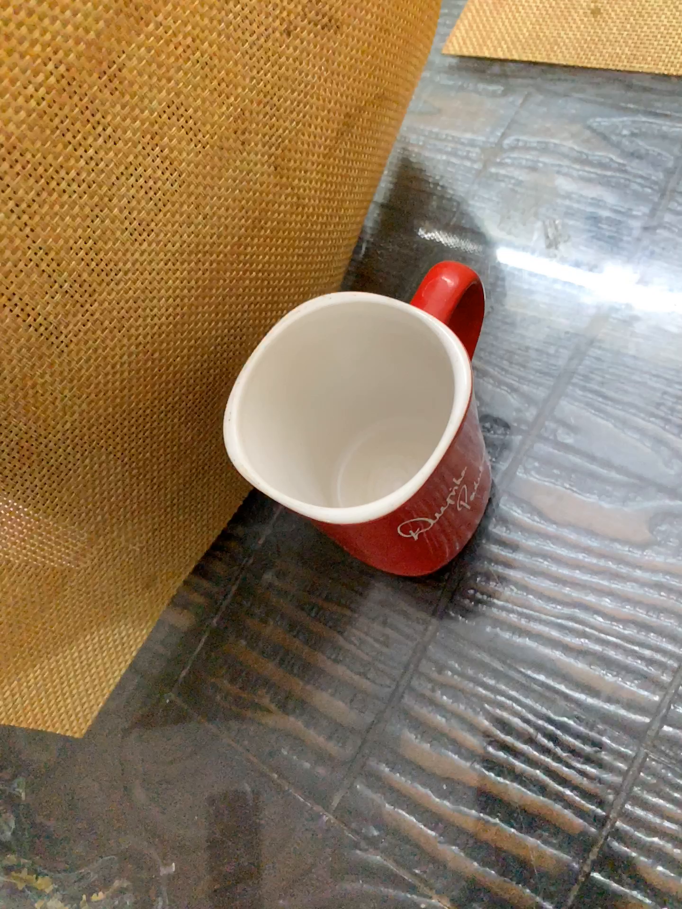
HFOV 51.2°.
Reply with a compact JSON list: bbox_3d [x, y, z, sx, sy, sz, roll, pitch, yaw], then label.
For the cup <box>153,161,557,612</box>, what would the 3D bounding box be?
[{"bbox_3d":[0.014,-0.017,0.220,0.070,0.085,0.096,21,77,24],"label":"cup"}]
